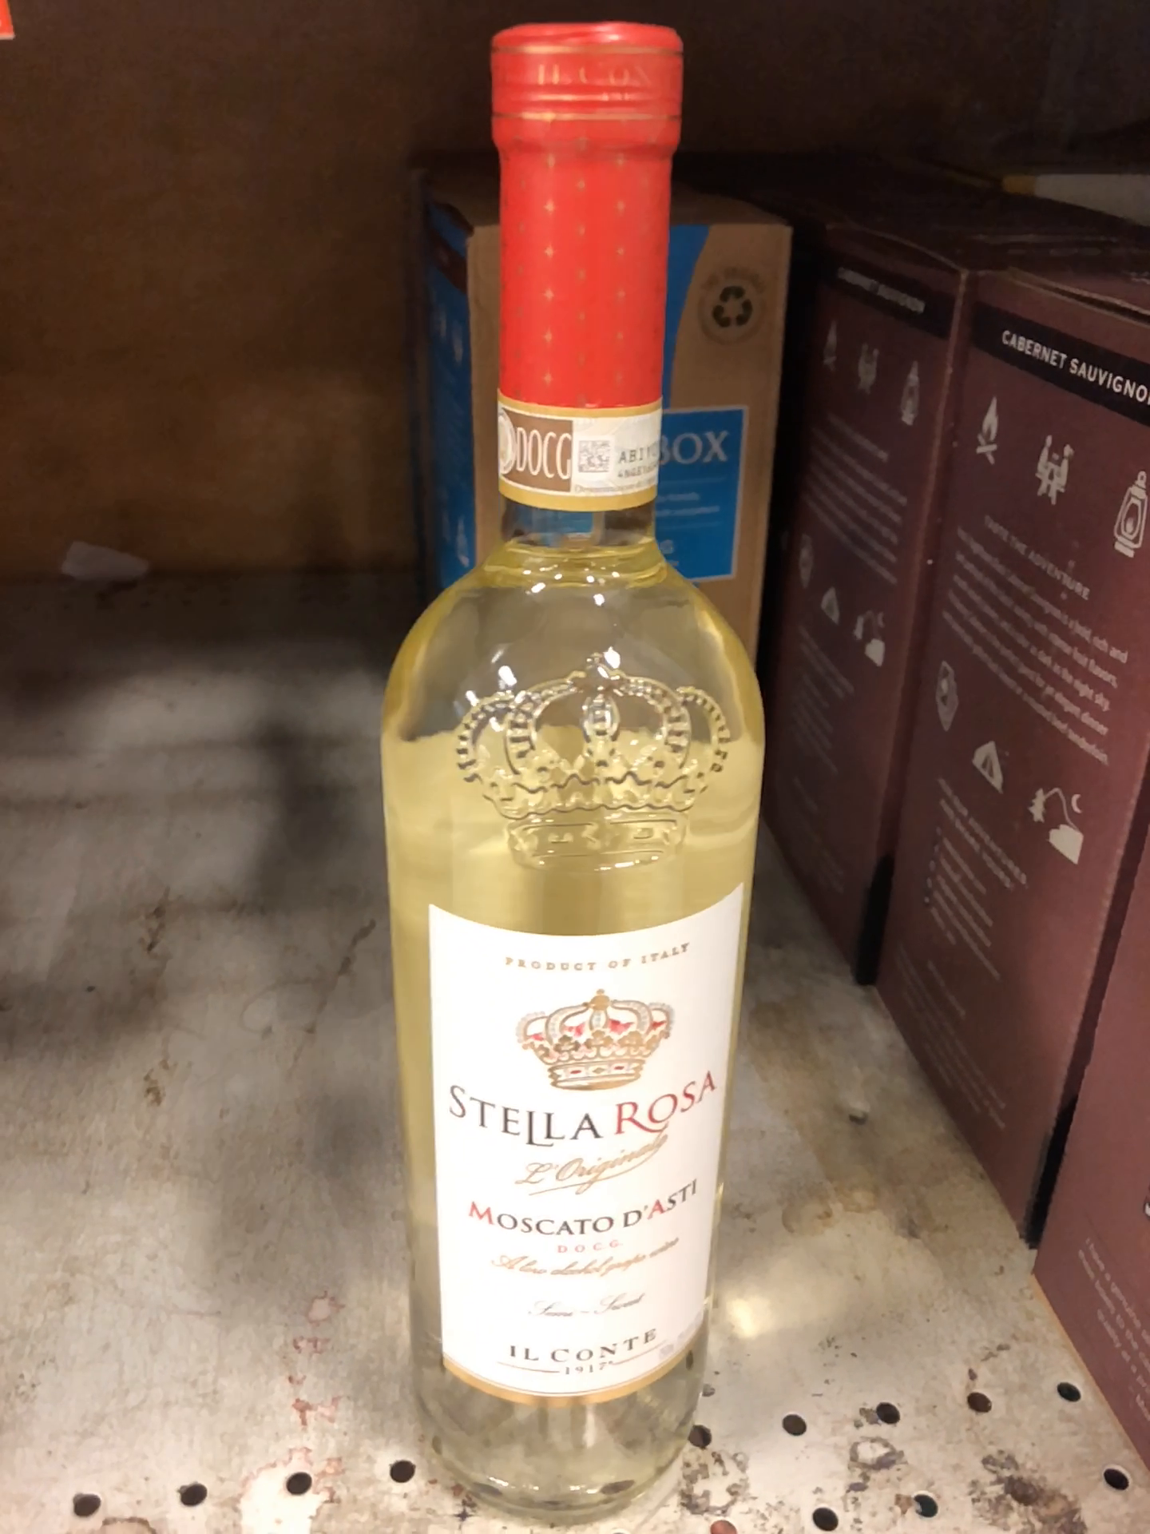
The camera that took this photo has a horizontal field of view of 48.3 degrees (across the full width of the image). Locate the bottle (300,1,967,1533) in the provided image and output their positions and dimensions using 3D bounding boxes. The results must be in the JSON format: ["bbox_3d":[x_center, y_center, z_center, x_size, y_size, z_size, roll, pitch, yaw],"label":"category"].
[{"bbox_3d":[-0.001,0.031,0.262,0.080,0.319,0.070,-5,30,-11],"label":"bottle"}]
